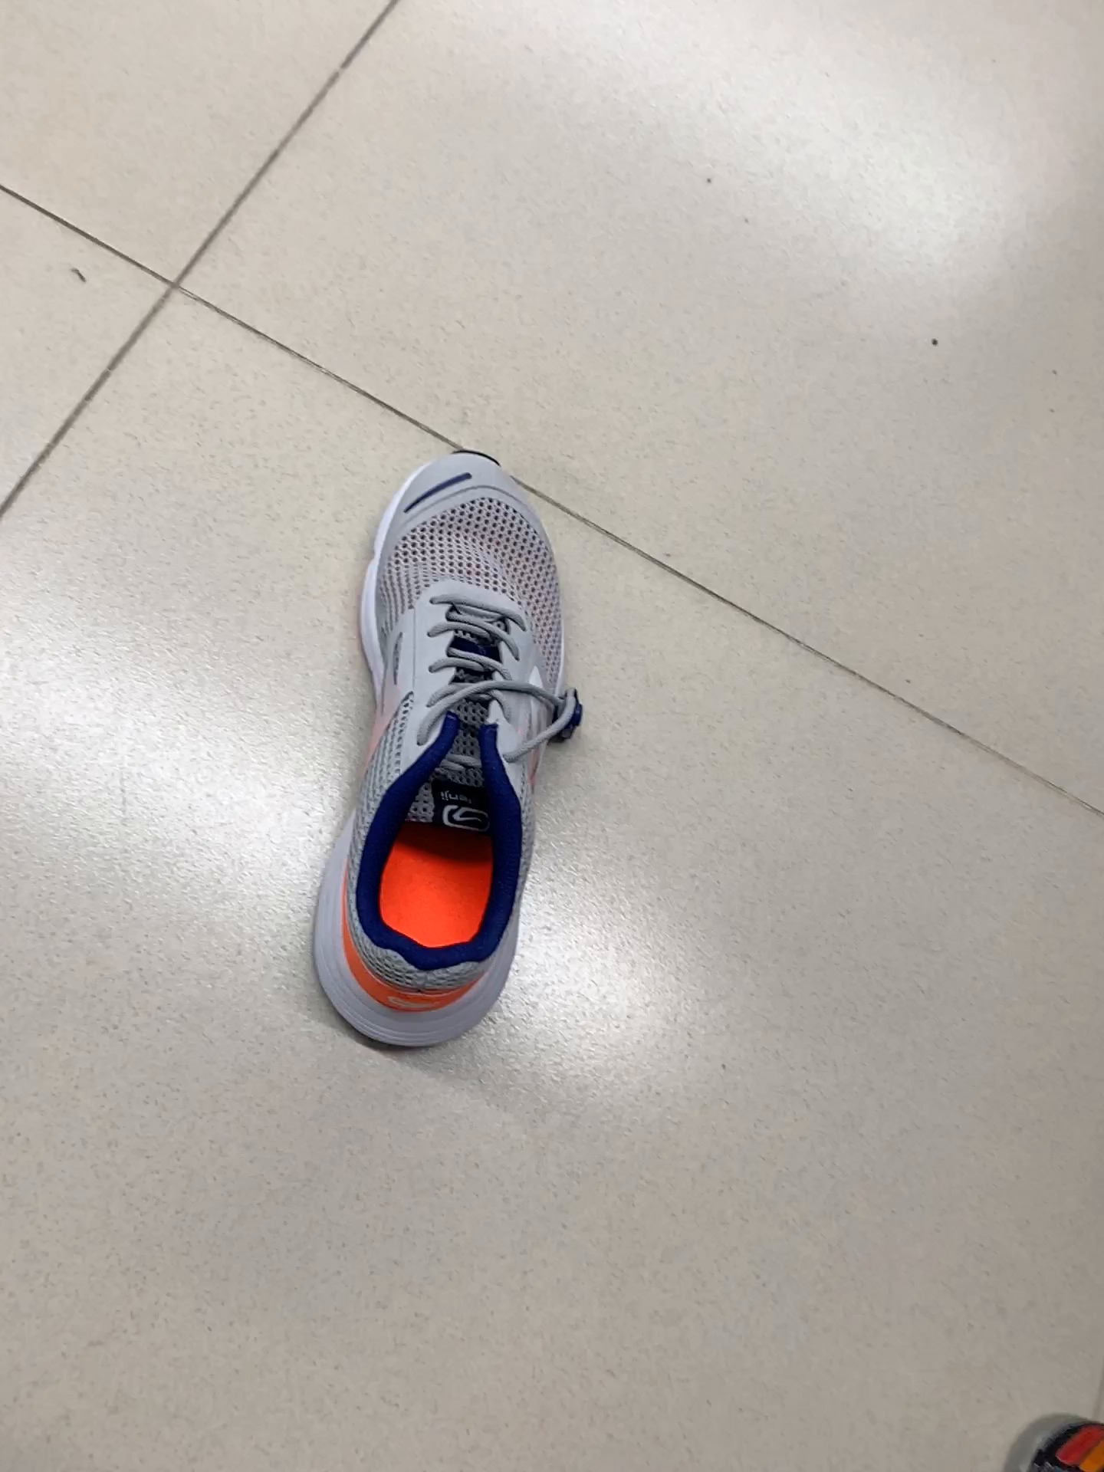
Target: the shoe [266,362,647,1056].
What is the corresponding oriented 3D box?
[{"bbox_3d":[-0.038,-0.006,0.462,0.100,0.100,0.250,12,71,-13],"label":"shoe"}]
